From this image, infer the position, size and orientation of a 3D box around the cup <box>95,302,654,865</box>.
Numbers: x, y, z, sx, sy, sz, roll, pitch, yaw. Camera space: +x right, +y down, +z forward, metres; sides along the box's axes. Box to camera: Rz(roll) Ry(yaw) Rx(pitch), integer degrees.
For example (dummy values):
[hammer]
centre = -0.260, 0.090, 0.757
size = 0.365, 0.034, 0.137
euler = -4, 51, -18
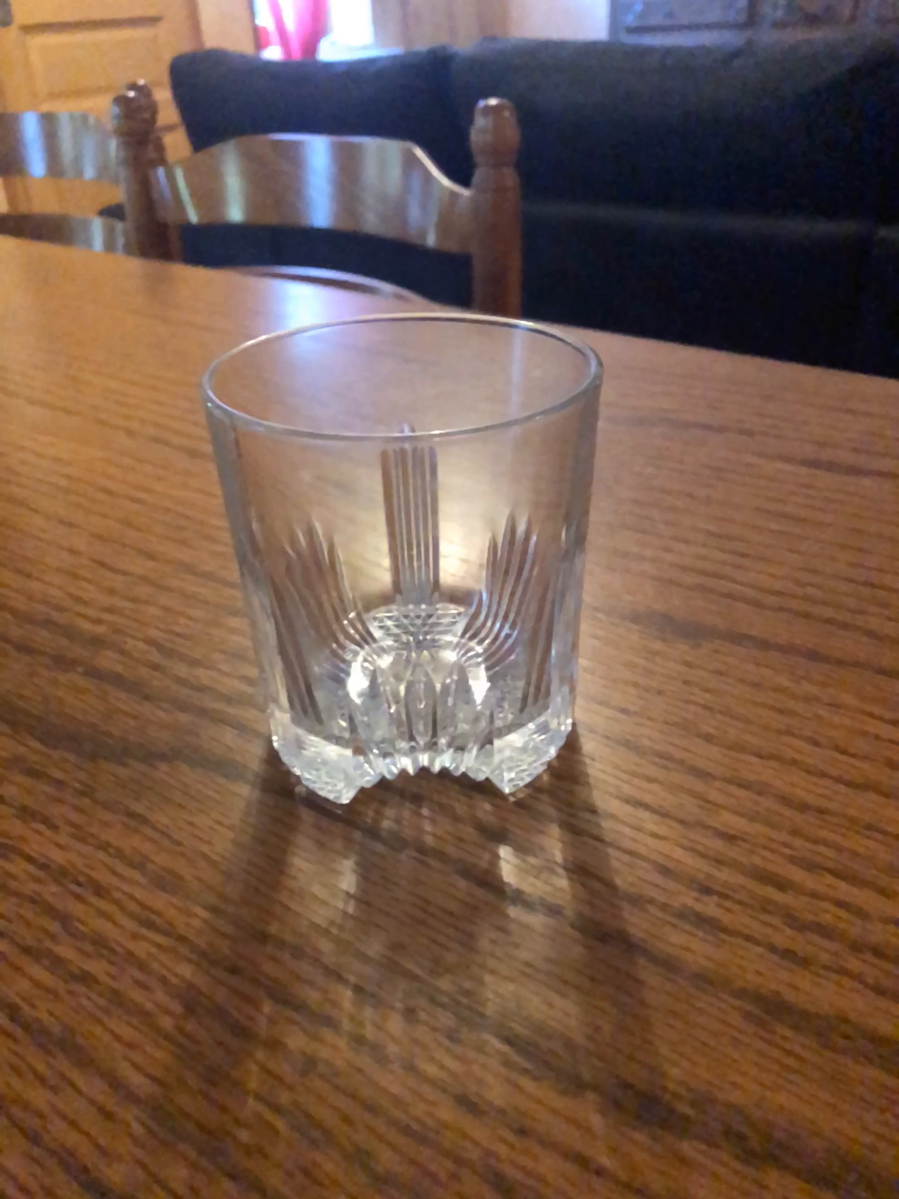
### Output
[cup]
centre = -0.010, -0.011, 0.224
size = 0.084, 0.084, 0.080
euler = -2, 30, 1
